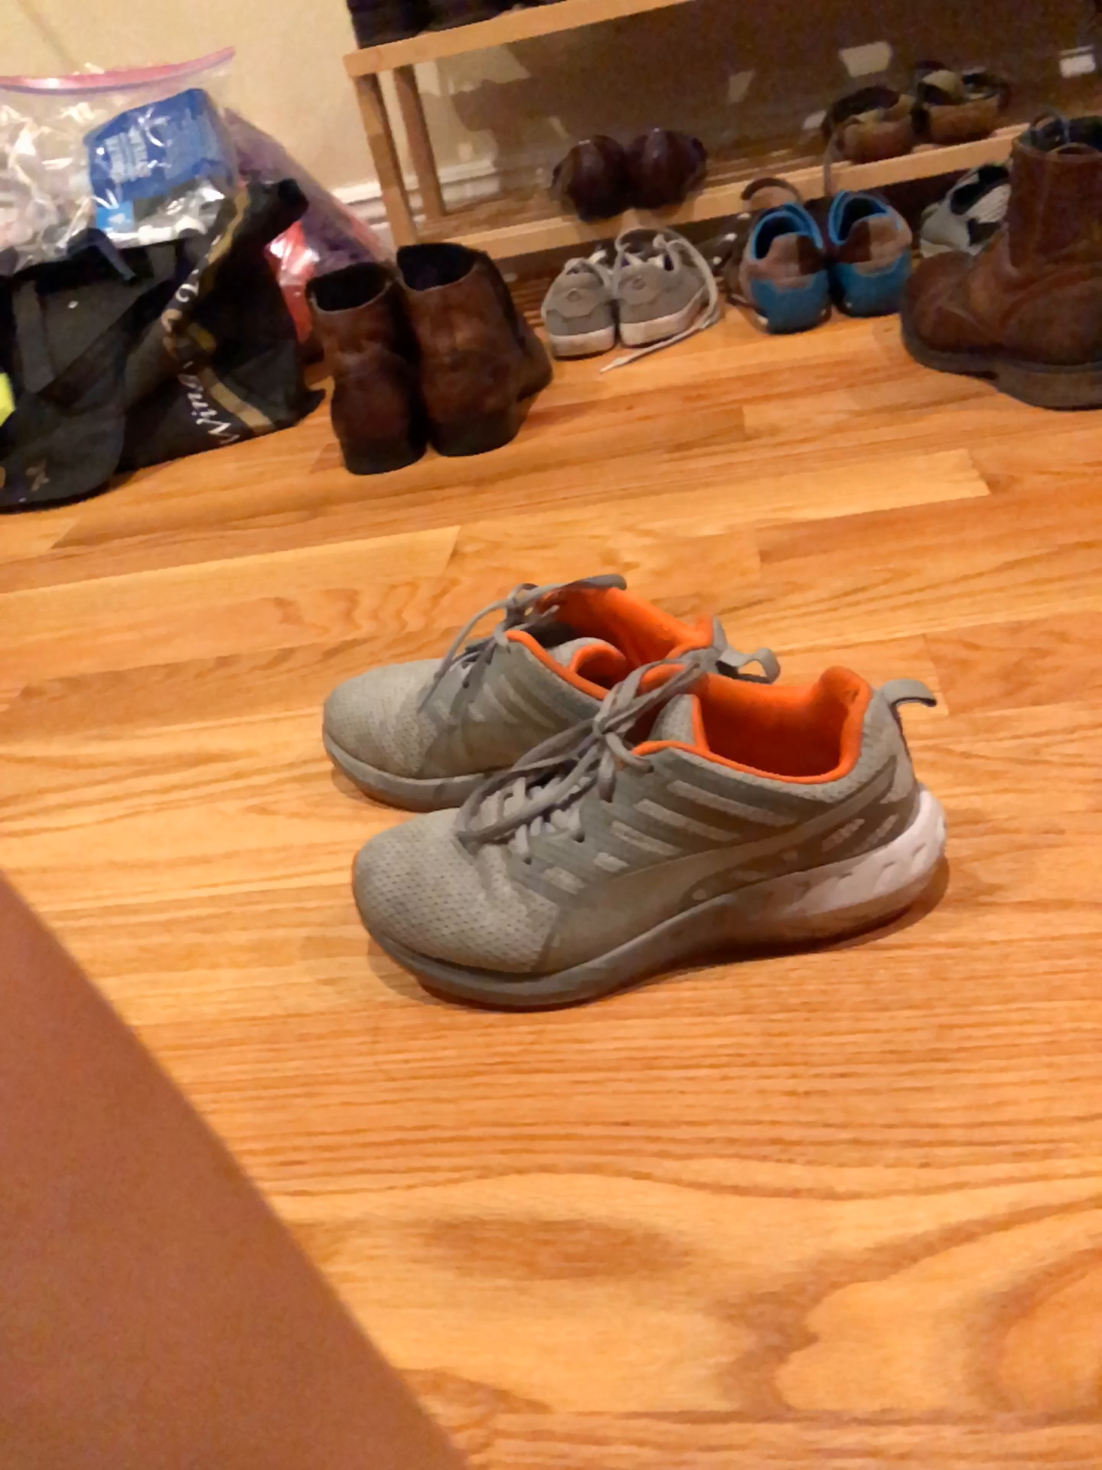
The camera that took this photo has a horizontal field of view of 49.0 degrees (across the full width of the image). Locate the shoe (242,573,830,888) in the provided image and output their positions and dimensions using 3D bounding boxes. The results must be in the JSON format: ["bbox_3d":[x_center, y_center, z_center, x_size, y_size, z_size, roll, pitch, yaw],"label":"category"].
[{"bbox_3d":[-0.004,-0.009,0.584,0.250,0.099,0.101,3,35,24],"label":"shoe"}]

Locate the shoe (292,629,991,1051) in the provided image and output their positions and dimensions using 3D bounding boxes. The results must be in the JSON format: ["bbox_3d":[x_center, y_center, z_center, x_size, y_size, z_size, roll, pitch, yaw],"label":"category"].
[{"bbox_3d":[0.035,0.040,0.495,0.250,0.080,0.111,-10,32,5],"label":"shoe"}]
